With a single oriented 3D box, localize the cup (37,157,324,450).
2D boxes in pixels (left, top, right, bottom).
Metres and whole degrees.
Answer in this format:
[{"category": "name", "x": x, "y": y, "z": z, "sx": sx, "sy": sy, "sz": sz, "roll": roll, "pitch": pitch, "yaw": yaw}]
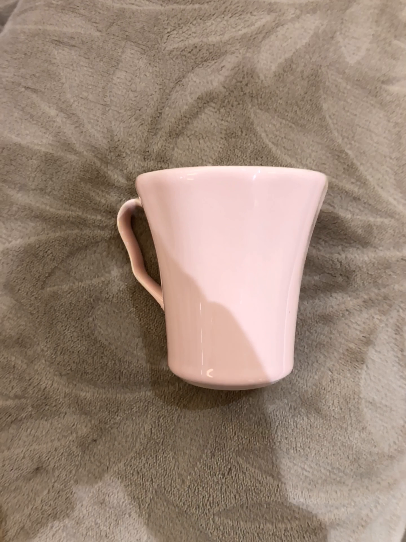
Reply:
[{"category": "cup", "x": -0.009, "y": 0.009, "z": 0.196, "sx": 0.100, "sy": 0.070, "sz": 0.090, "roll": 0, "pitch": 92, "yaw": 33}]
